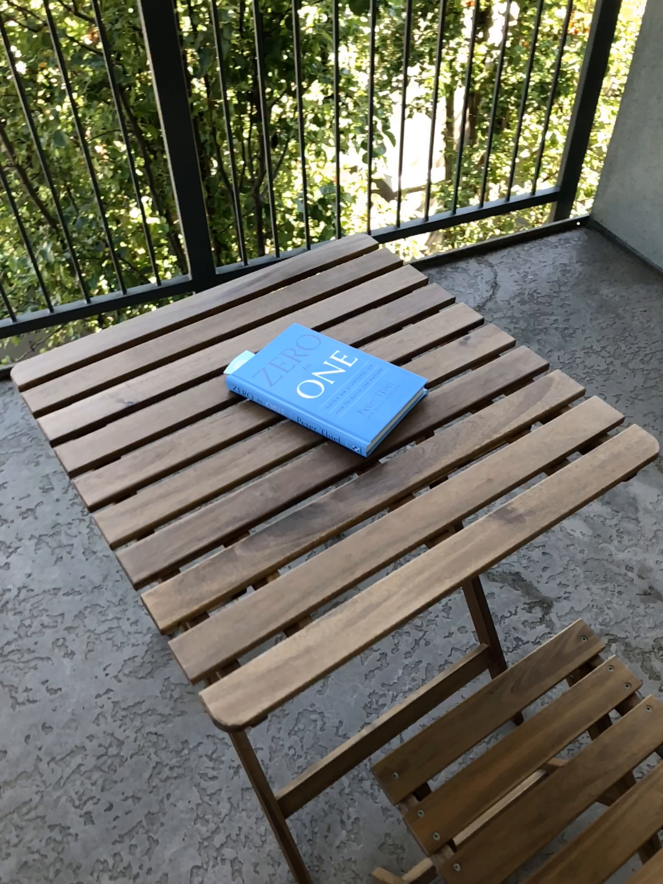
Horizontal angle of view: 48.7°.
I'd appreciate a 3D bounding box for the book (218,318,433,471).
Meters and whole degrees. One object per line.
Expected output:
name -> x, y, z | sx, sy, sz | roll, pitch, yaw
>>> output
book -> -0.007, -0.069, 0.938 | 0.220, 0.030, 0.160 | 27, 52, 24
